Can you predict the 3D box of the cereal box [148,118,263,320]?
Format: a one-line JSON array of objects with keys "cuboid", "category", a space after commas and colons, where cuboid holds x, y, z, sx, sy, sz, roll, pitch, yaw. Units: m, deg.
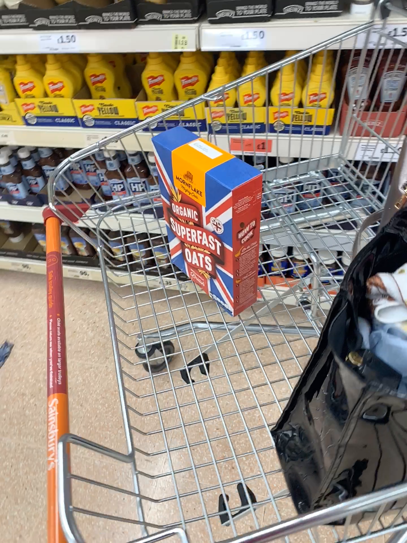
[{"cuboid": [0.004, -0.073, 0.635, 0.050, 0.258, 0.181, -31, 50, -24], "category": "cereal box"}]
